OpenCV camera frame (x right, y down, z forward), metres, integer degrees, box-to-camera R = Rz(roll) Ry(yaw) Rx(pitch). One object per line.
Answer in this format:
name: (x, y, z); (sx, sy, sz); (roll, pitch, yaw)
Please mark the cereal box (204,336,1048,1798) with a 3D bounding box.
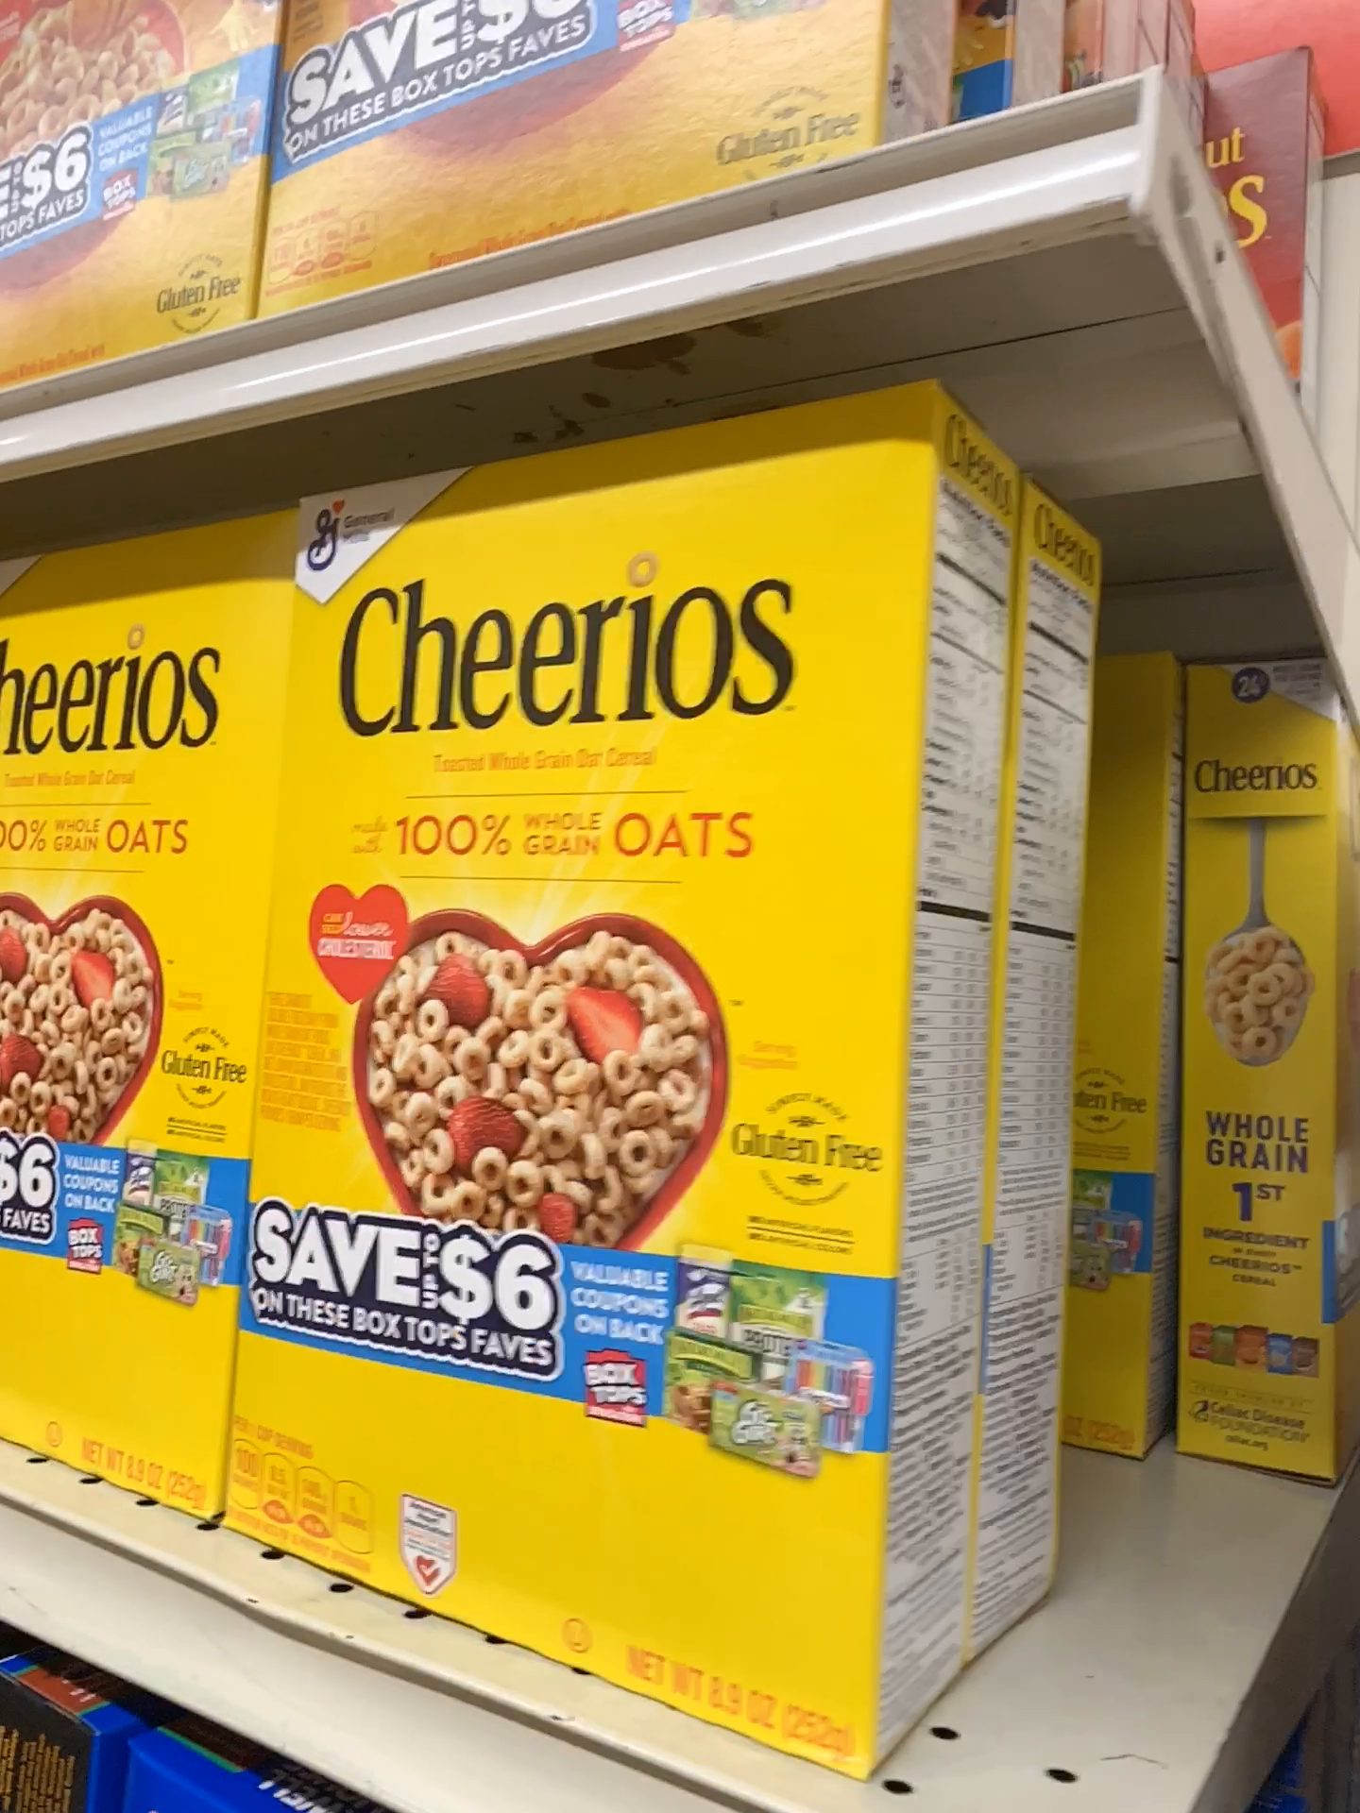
cereal box: (-0.020, 0.025, 0.333); (0.190, 0.270, 0.050); (1, -4, 33)
